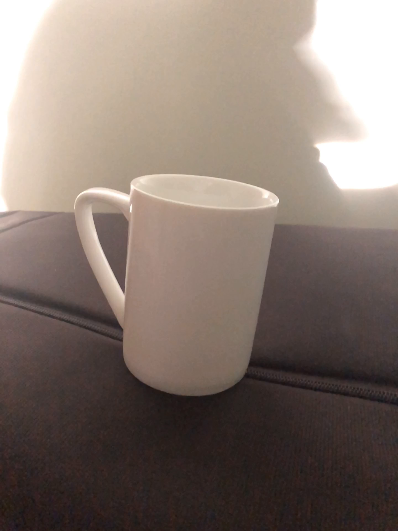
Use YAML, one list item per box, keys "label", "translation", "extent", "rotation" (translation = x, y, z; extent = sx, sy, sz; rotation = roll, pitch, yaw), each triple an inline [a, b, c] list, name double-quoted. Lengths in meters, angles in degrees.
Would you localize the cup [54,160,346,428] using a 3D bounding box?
- label: "cup"
  translation: [-0.001, -0.001, 0.236]
  extent: [0.109, 0.090, 0.097]
  rotation: [20, 22, 32]
